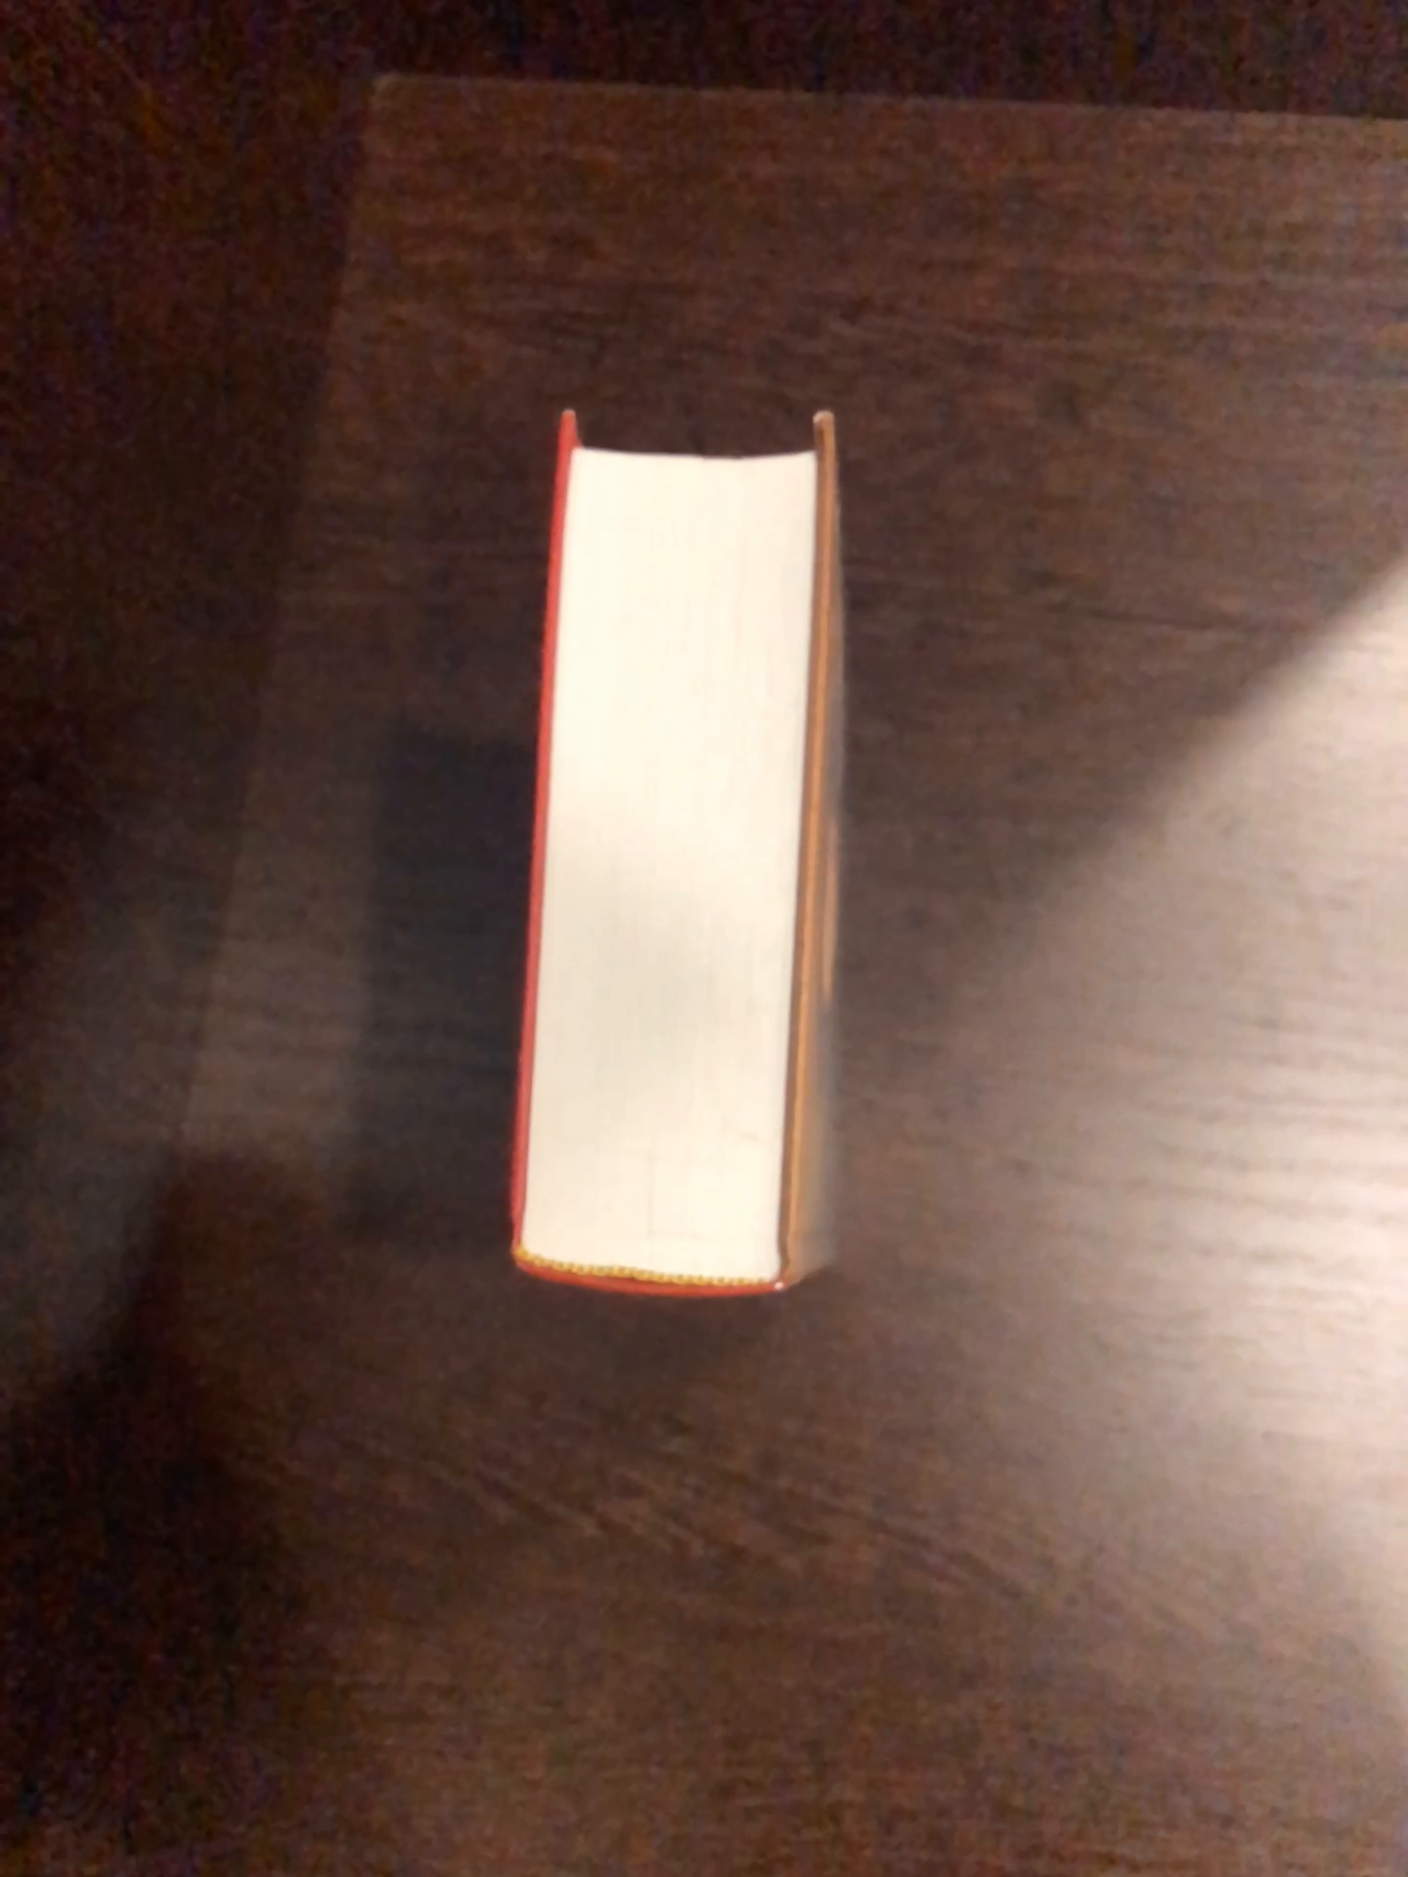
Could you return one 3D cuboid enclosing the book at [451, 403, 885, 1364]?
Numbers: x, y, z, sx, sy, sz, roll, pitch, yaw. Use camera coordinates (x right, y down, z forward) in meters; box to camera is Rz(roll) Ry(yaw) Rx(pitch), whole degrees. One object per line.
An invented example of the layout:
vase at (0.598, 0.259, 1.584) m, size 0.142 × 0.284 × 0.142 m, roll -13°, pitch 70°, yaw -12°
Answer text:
book at (0.002, 0.006, 0.323) m, size 0.054 × 0.202 × 0.137 m, roll 2°, pitch 80°, yaw 4°
